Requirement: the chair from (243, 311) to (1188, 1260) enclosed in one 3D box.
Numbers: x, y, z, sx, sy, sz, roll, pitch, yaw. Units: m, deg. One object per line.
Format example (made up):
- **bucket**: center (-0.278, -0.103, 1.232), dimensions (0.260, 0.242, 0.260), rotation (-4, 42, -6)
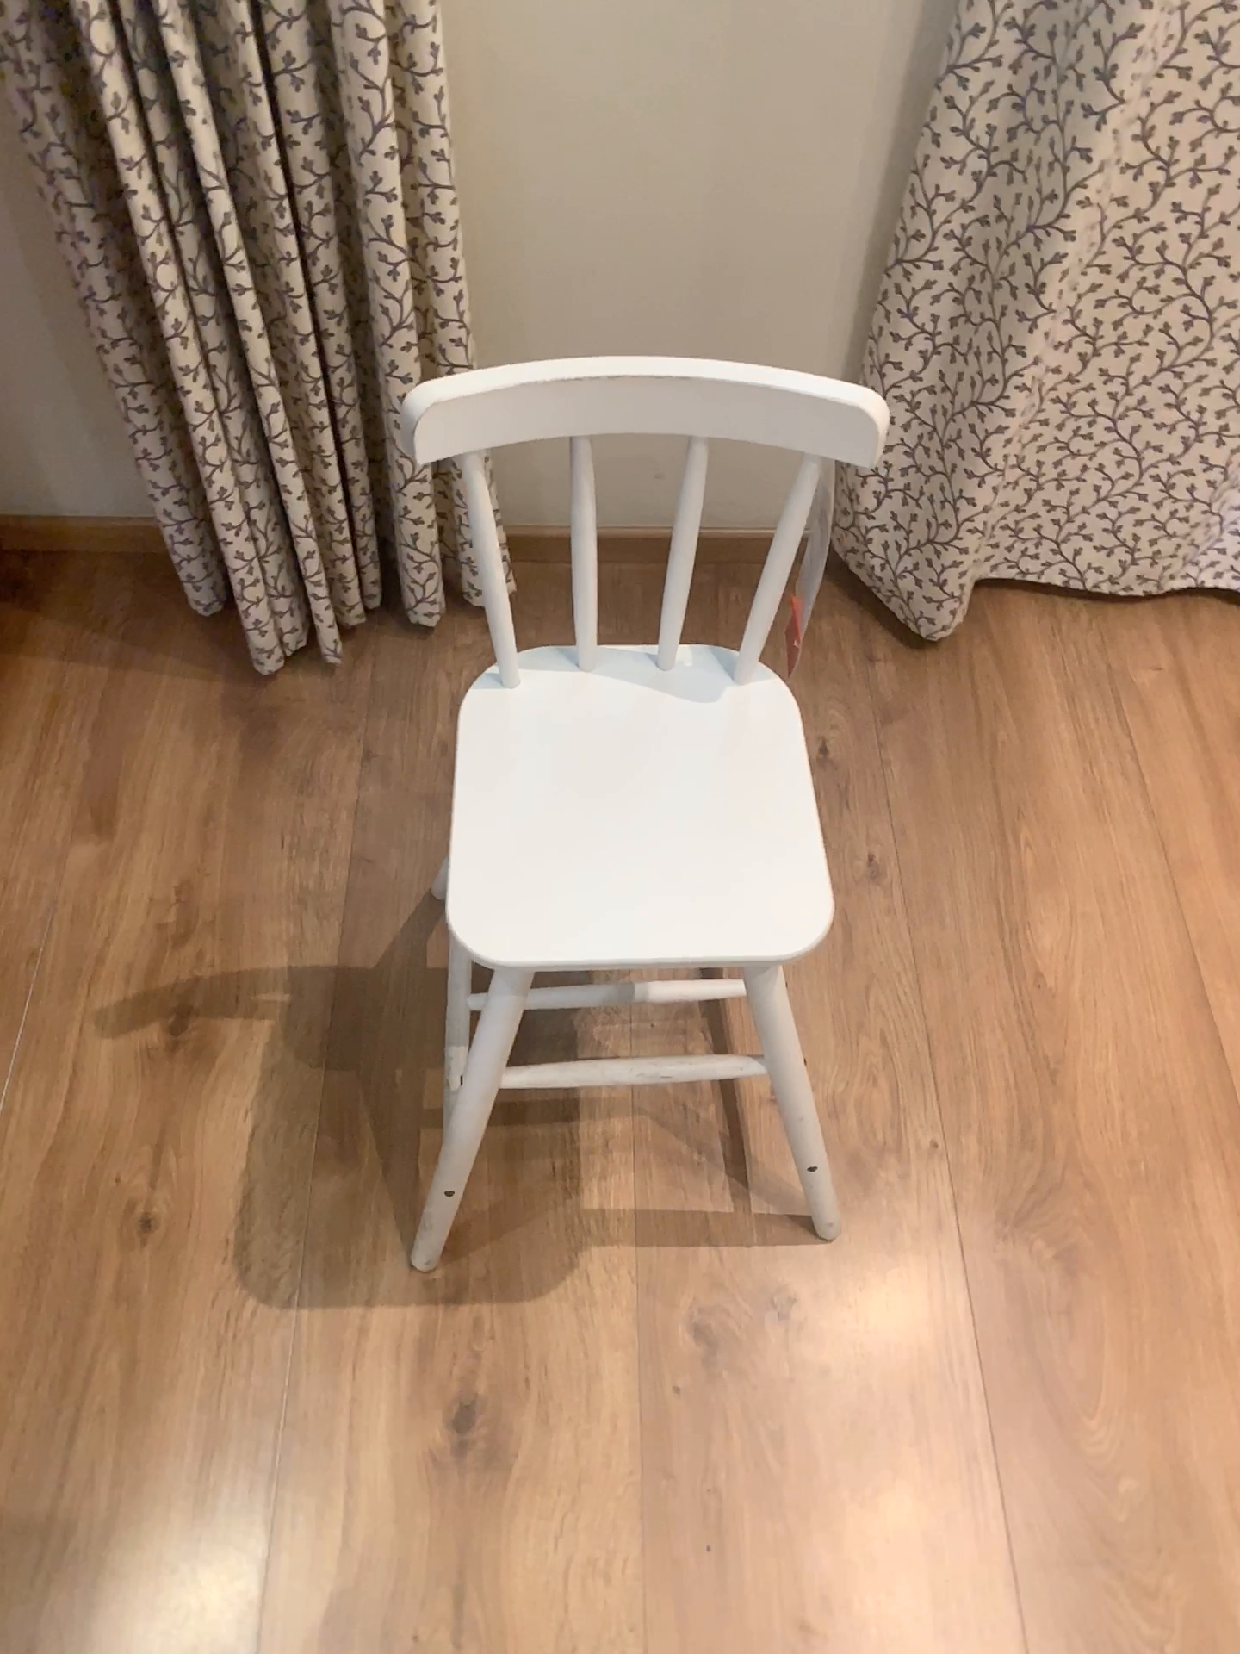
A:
- **chair**: center (0.024, 0.020, 0.986), dimensions (0.450, 0.648, 0.431), rotation (-2, 57, -4)
